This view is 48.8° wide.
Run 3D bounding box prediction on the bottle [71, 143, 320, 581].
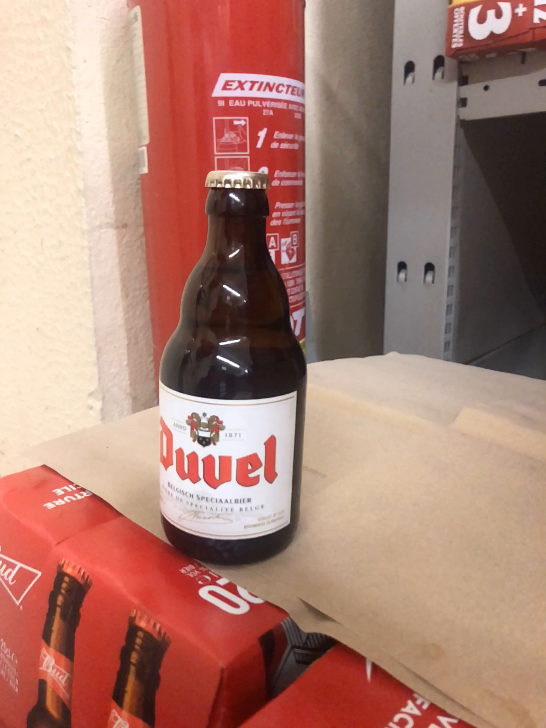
[{"bbox_3d":[-0.029,-0.005,0.275,0.080,0.169,0.070,5,14,26],"label":"bottle"}]
